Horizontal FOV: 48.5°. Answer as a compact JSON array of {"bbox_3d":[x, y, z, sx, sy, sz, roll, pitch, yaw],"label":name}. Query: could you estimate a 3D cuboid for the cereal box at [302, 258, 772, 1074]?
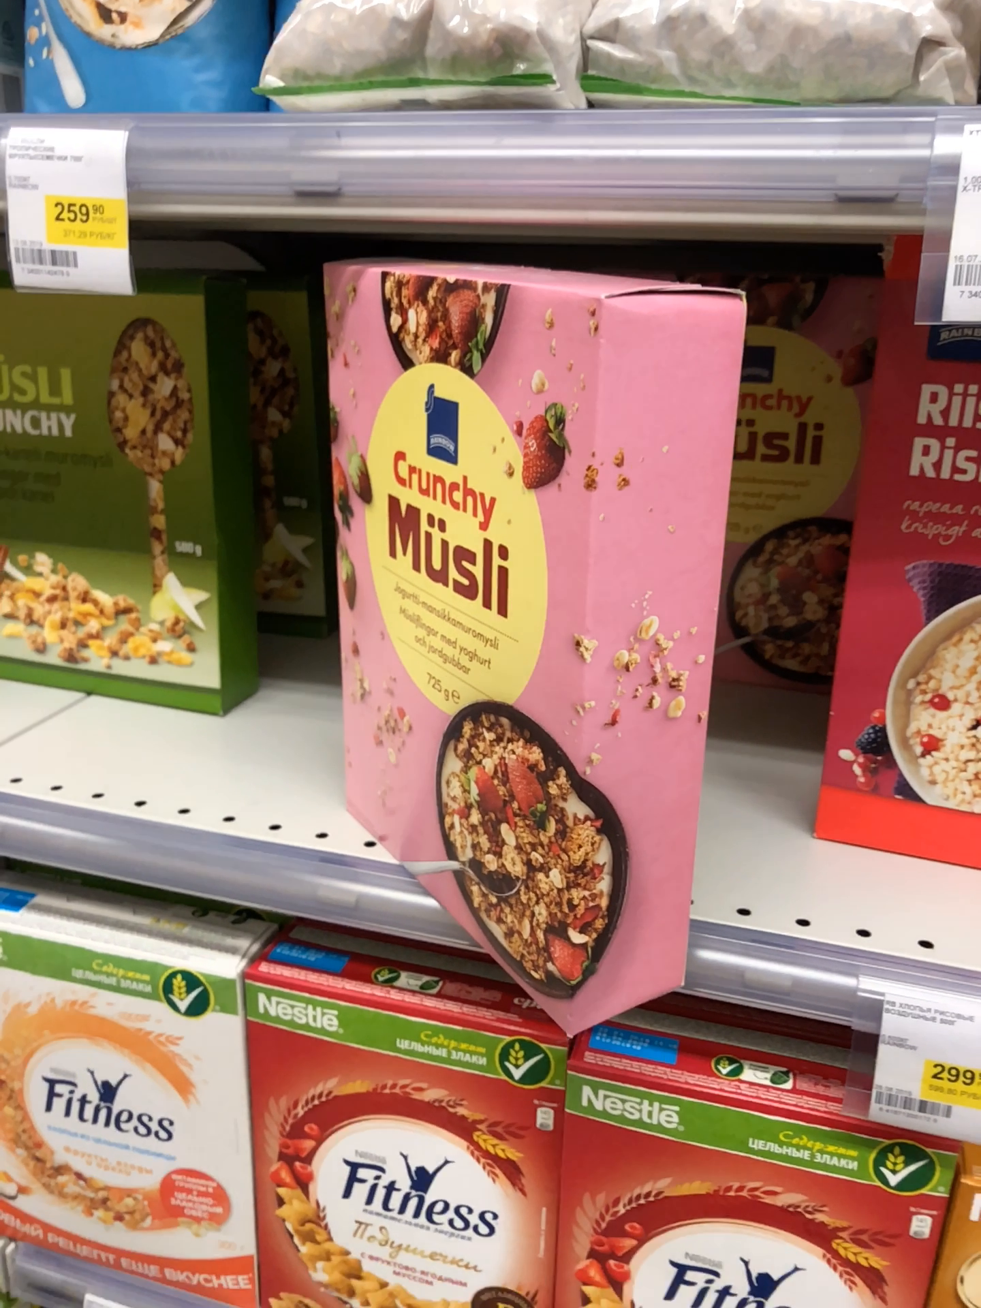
[{"bbox_3d":[0.001,-0.012,0.425,0.060,0.259,0.201,-12,25,-30],"label":"cereal box"}]
